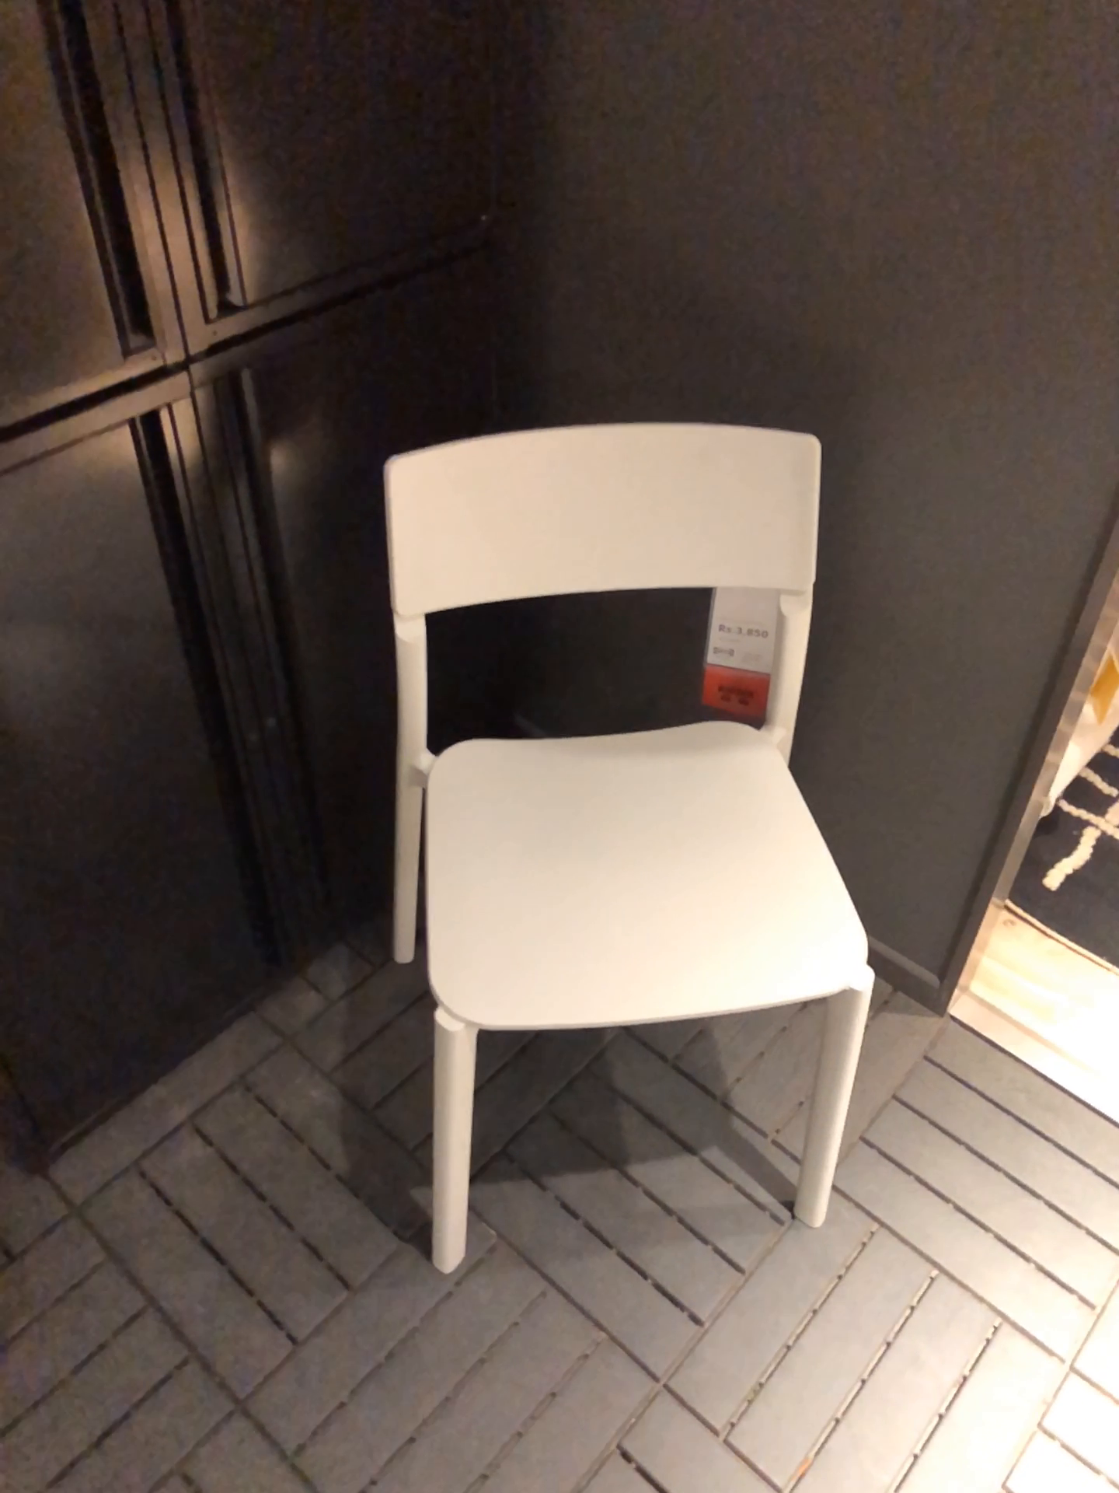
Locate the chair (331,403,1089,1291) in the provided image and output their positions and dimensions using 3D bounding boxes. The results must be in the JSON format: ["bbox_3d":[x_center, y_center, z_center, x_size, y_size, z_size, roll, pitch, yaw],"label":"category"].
[{"bbox_3d":[0.068,0.113,1.208,0.500,0.705,0.473,-4,43,-6],"label":"chair"}]
